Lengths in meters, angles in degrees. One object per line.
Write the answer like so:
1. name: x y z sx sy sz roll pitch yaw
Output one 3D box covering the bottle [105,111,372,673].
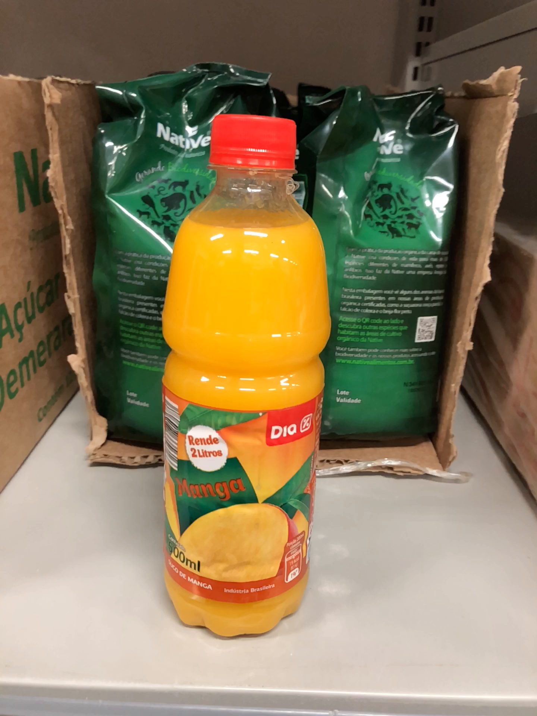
1. bottle: -0.010 0.012 0.235 0.070 0.199 0.060 10 22 22
